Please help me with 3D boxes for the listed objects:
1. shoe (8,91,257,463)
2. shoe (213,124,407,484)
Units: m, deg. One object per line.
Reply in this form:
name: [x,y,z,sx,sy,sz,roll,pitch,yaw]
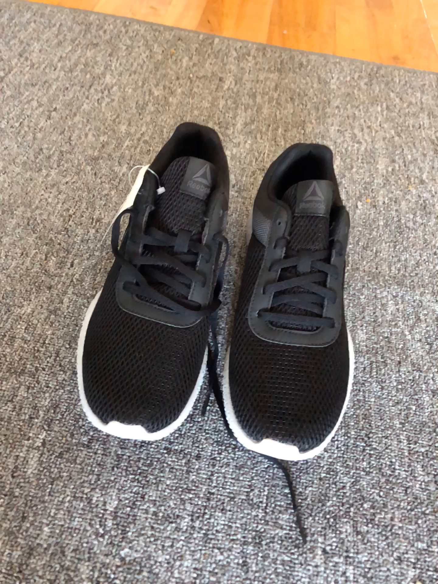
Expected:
shoe: [-0.047,-0.033,0.405,0.116,0.099,0.302,10,52,0]
shoe: [0.071,-0.008,0.423,0.110,0.099,0.302,8,53,-1]
